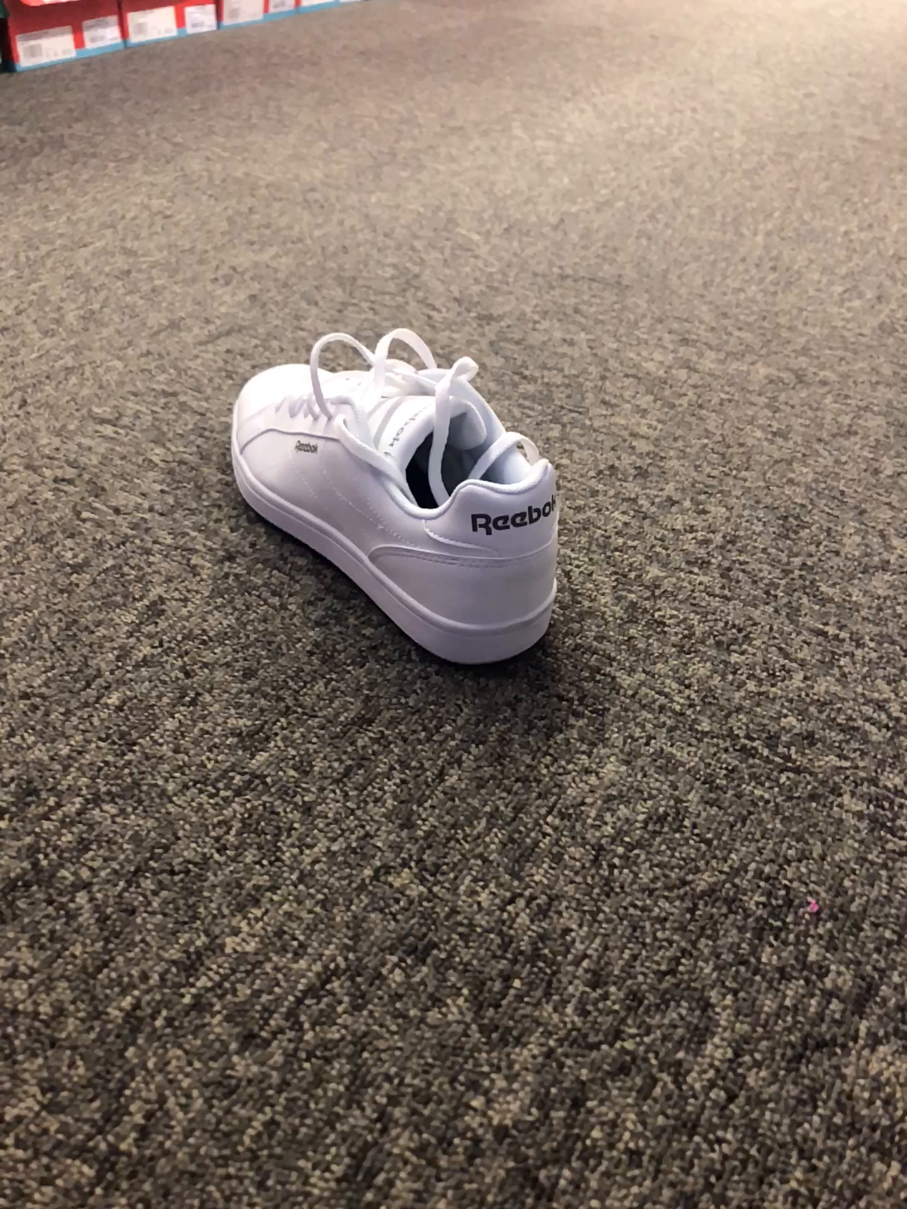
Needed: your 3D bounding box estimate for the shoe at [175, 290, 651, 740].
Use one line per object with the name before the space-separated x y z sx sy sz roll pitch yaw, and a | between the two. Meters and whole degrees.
shoe | -0.034 -0.063 0.482 0.100 0.099 0.260 -20 37 -25
